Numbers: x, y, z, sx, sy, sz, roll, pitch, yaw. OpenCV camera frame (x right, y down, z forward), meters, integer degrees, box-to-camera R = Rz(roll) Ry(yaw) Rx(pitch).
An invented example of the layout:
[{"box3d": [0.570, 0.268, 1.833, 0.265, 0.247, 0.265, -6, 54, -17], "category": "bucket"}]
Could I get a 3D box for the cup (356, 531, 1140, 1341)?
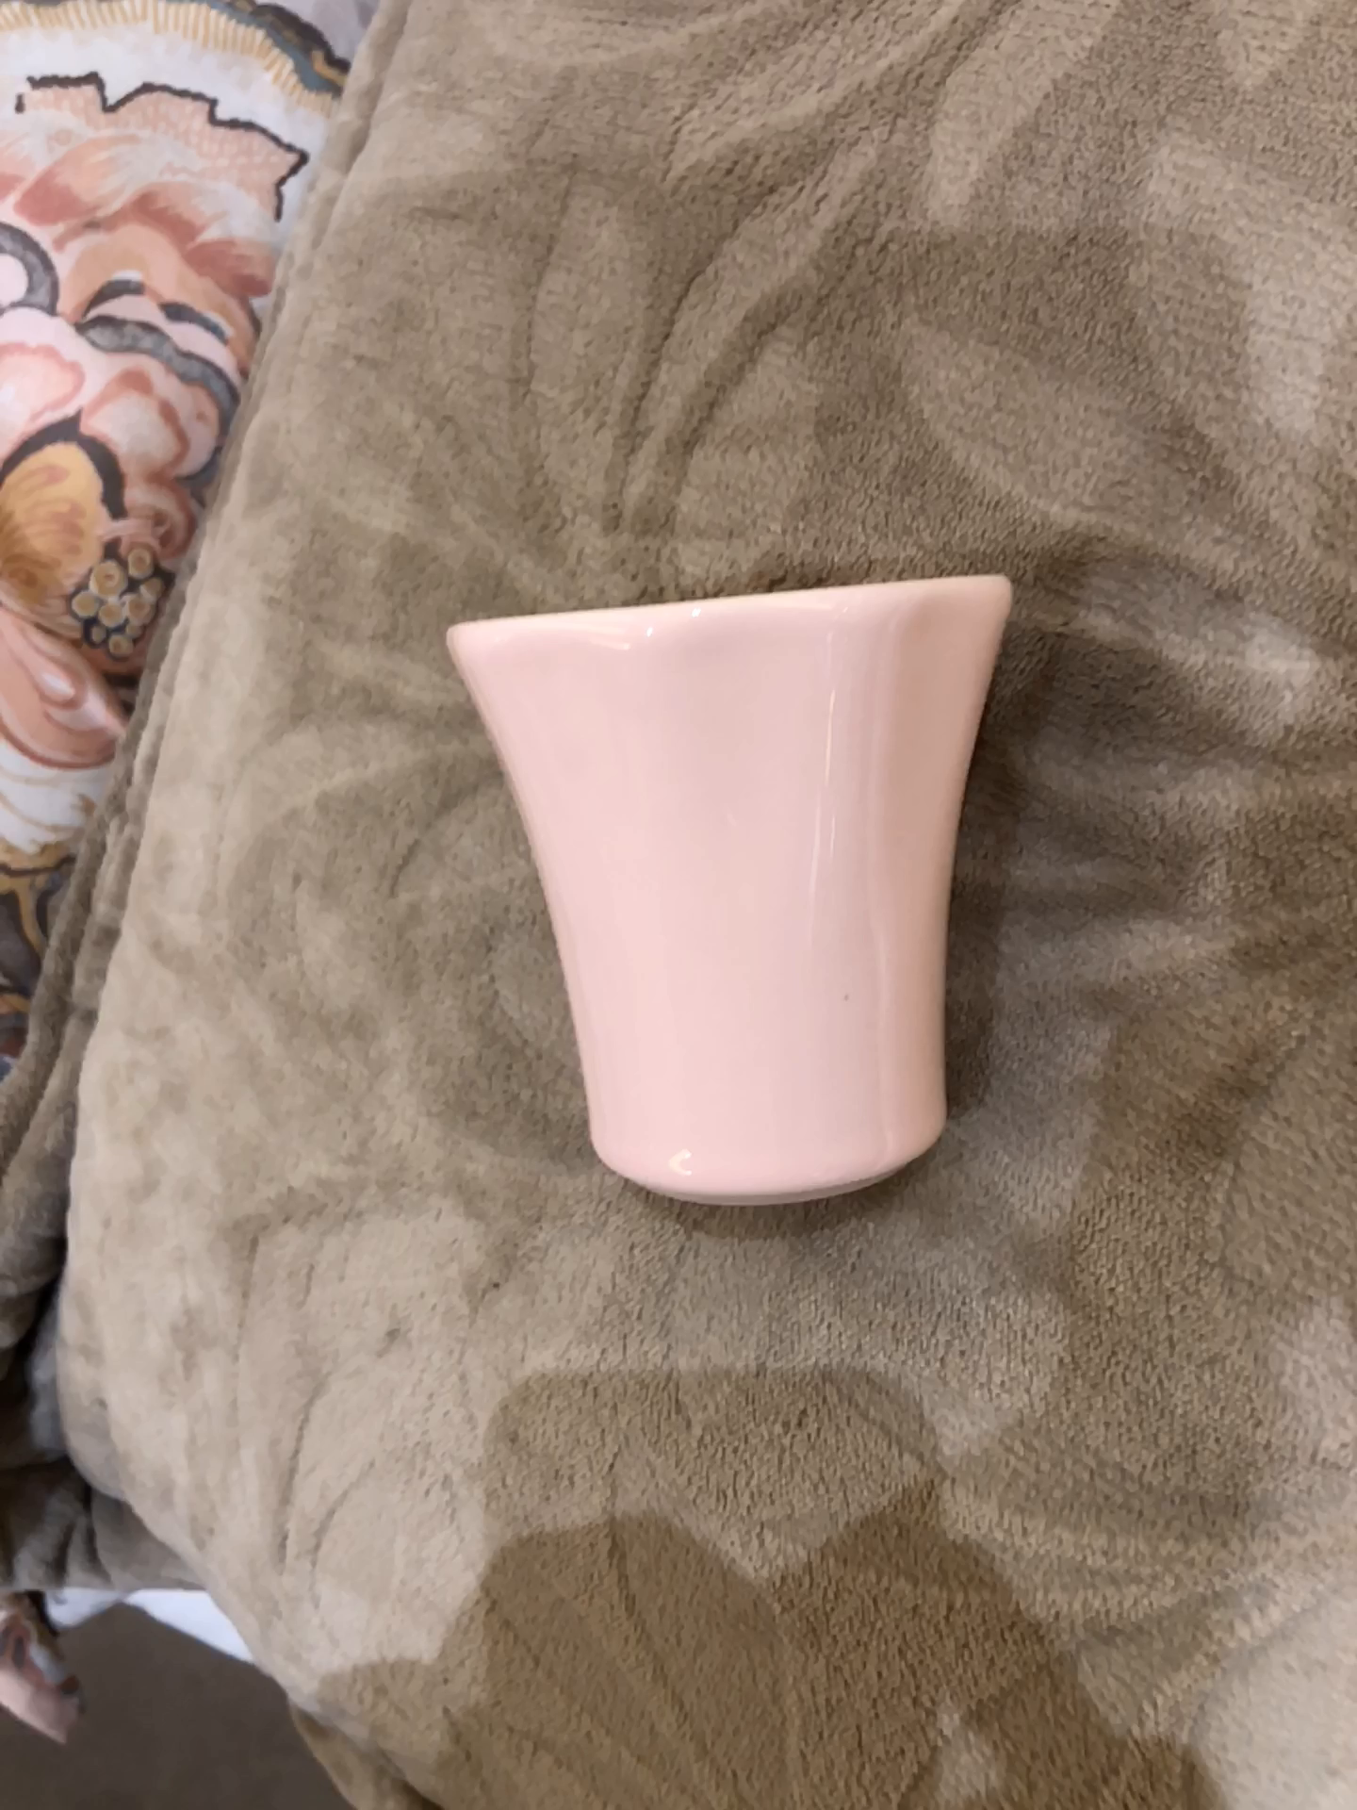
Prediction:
[{"box3d": [0.005, -0.003, 0.229, 0.100, 0.070, 0.090, 9, 106, 61], "category": "cup"}]
